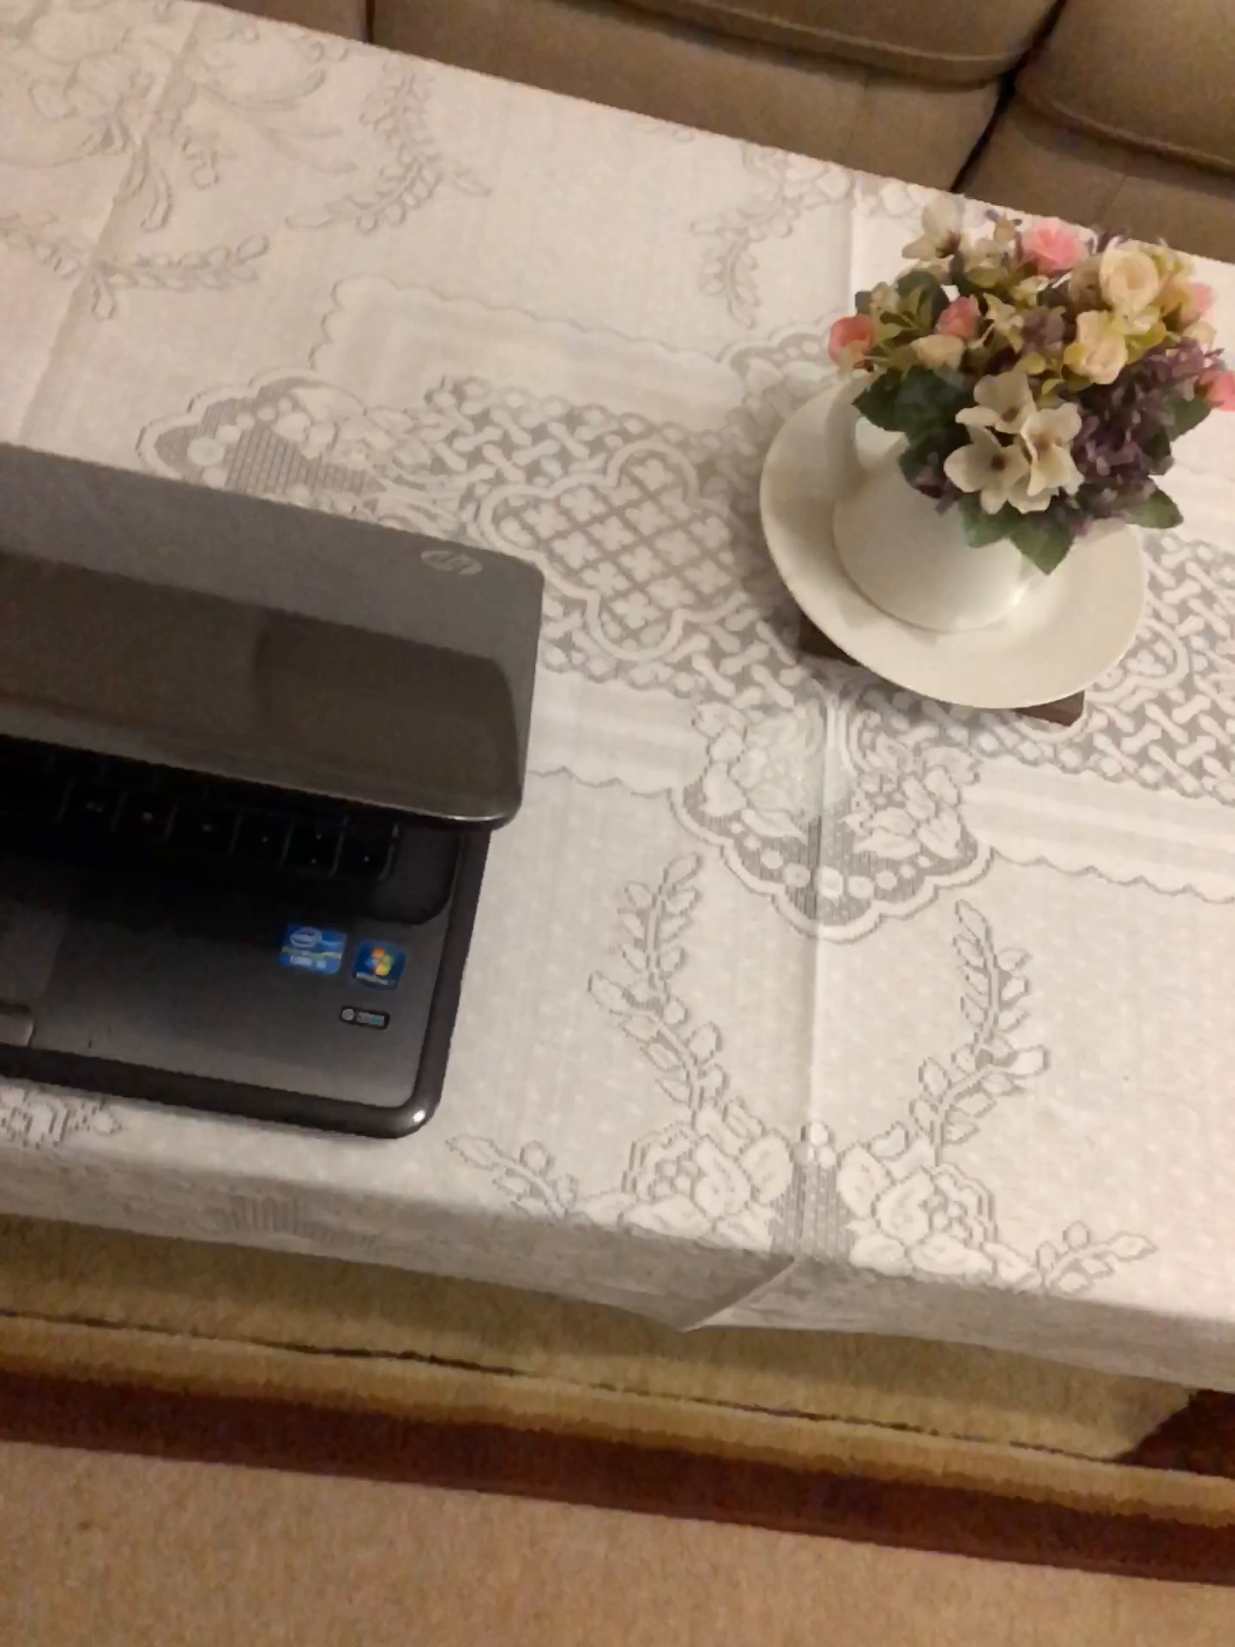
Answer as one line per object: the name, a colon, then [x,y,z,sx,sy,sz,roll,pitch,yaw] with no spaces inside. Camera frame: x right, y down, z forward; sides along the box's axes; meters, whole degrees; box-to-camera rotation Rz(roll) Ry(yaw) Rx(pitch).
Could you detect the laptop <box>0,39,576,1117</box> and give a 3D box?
laptop: [-0.216,-0.069,0.442,0.360,0.139,0.238,11,63,-6]
